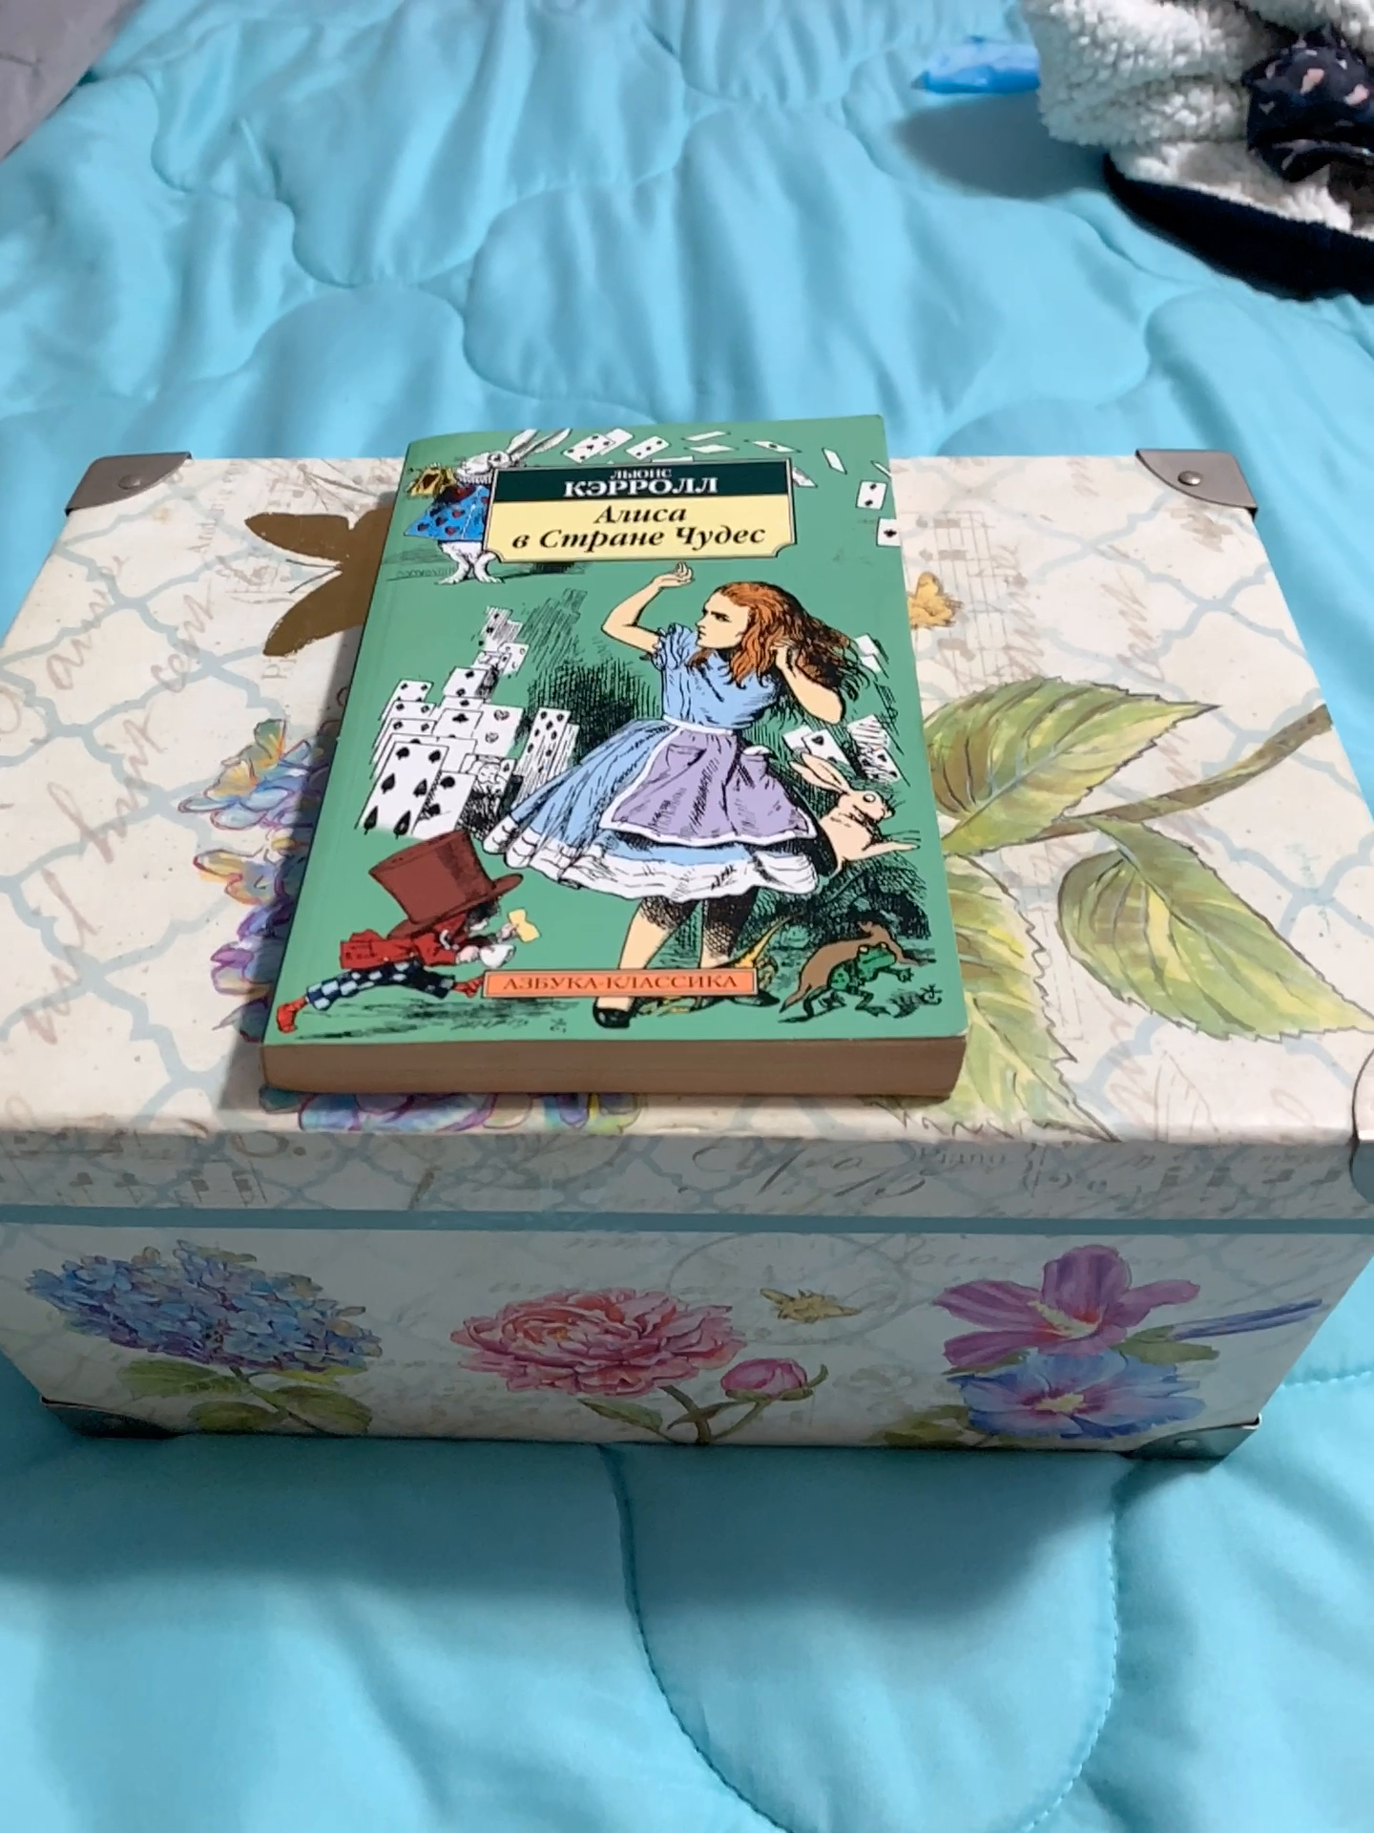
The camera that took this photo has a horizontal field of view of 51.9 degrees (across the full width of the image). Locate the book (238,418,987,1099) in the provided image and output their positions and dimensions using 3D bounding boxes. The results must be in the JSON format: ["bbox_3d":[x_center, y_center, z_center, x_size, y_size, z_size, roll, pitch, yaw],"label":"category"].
[{"bbox_3d":[-0.012,-0.044,0.288,0.118,0.018,0.180,0,50,0],"label":"book"}]
